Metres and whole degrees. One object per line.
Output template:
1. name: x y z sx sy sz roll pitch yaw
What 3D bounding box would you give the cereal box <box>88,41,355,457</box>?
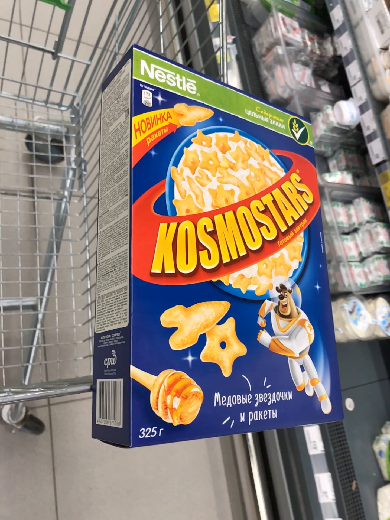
1. cereal box: 0.024 -0.007 0.357 0.201 0.060 0.280 8 72 -32
